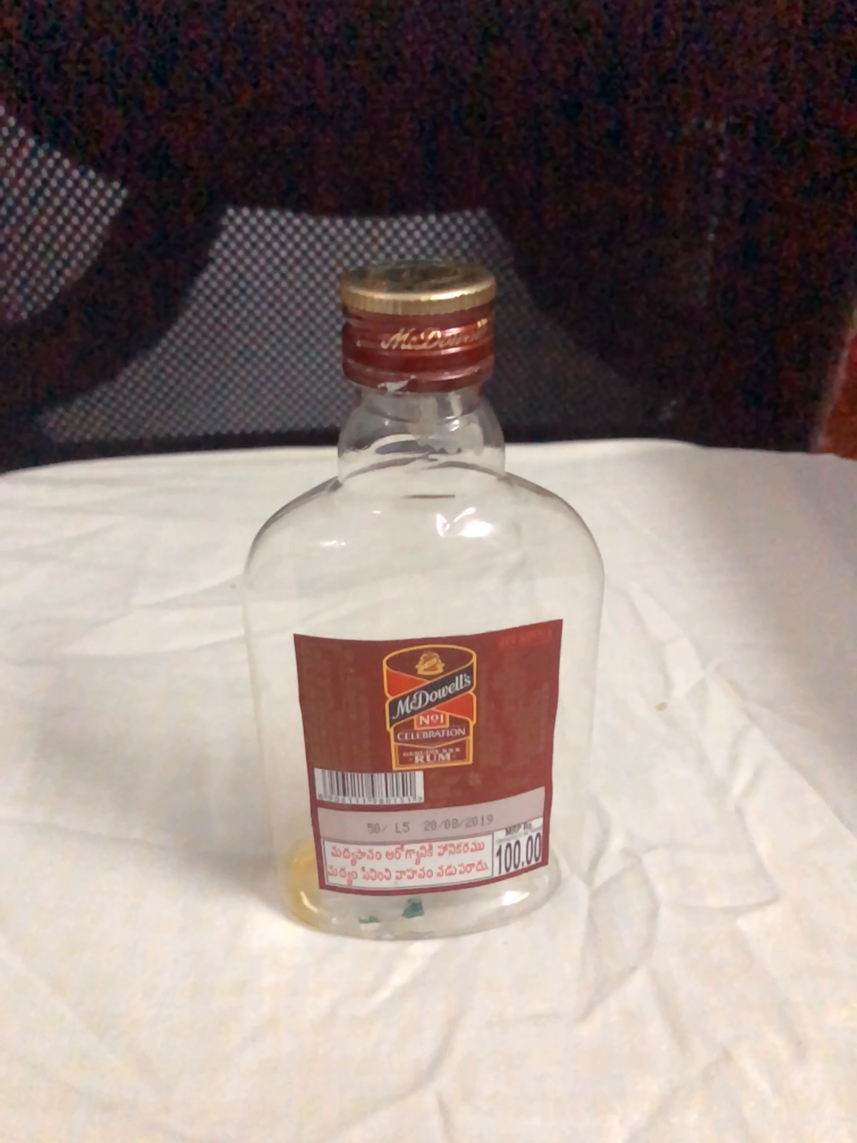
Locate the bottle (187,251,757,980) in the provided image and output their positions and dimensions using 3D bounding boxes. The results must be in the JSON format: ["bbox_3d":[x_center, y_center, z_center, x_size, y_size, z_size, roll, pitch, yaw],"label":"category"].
[{"bbox_3d":[0.003,0.014,0.186,0.080,0.139,0.040,-2,32,-6],"label":"bottle"}]
